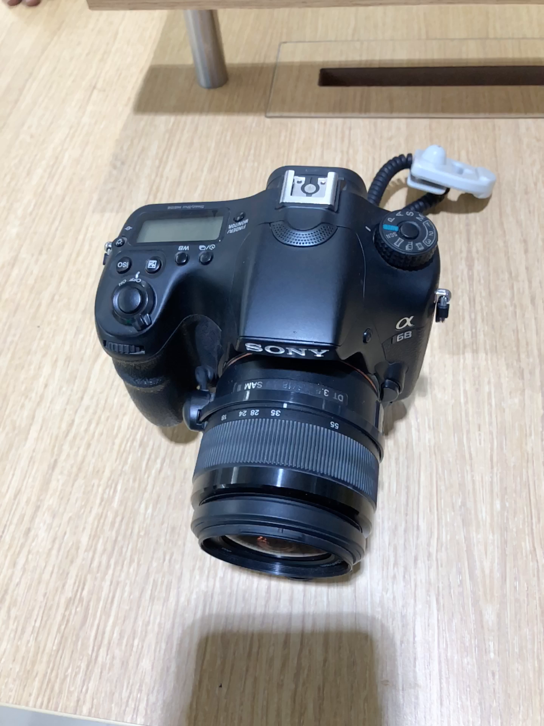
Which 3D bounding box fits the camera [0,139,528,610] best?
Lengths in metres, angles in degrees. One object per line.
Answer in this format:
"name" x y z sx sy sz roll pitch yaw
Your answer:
"camera" -0.002 0.000 0.208 0.140 0.080 0.131 4 59 9
